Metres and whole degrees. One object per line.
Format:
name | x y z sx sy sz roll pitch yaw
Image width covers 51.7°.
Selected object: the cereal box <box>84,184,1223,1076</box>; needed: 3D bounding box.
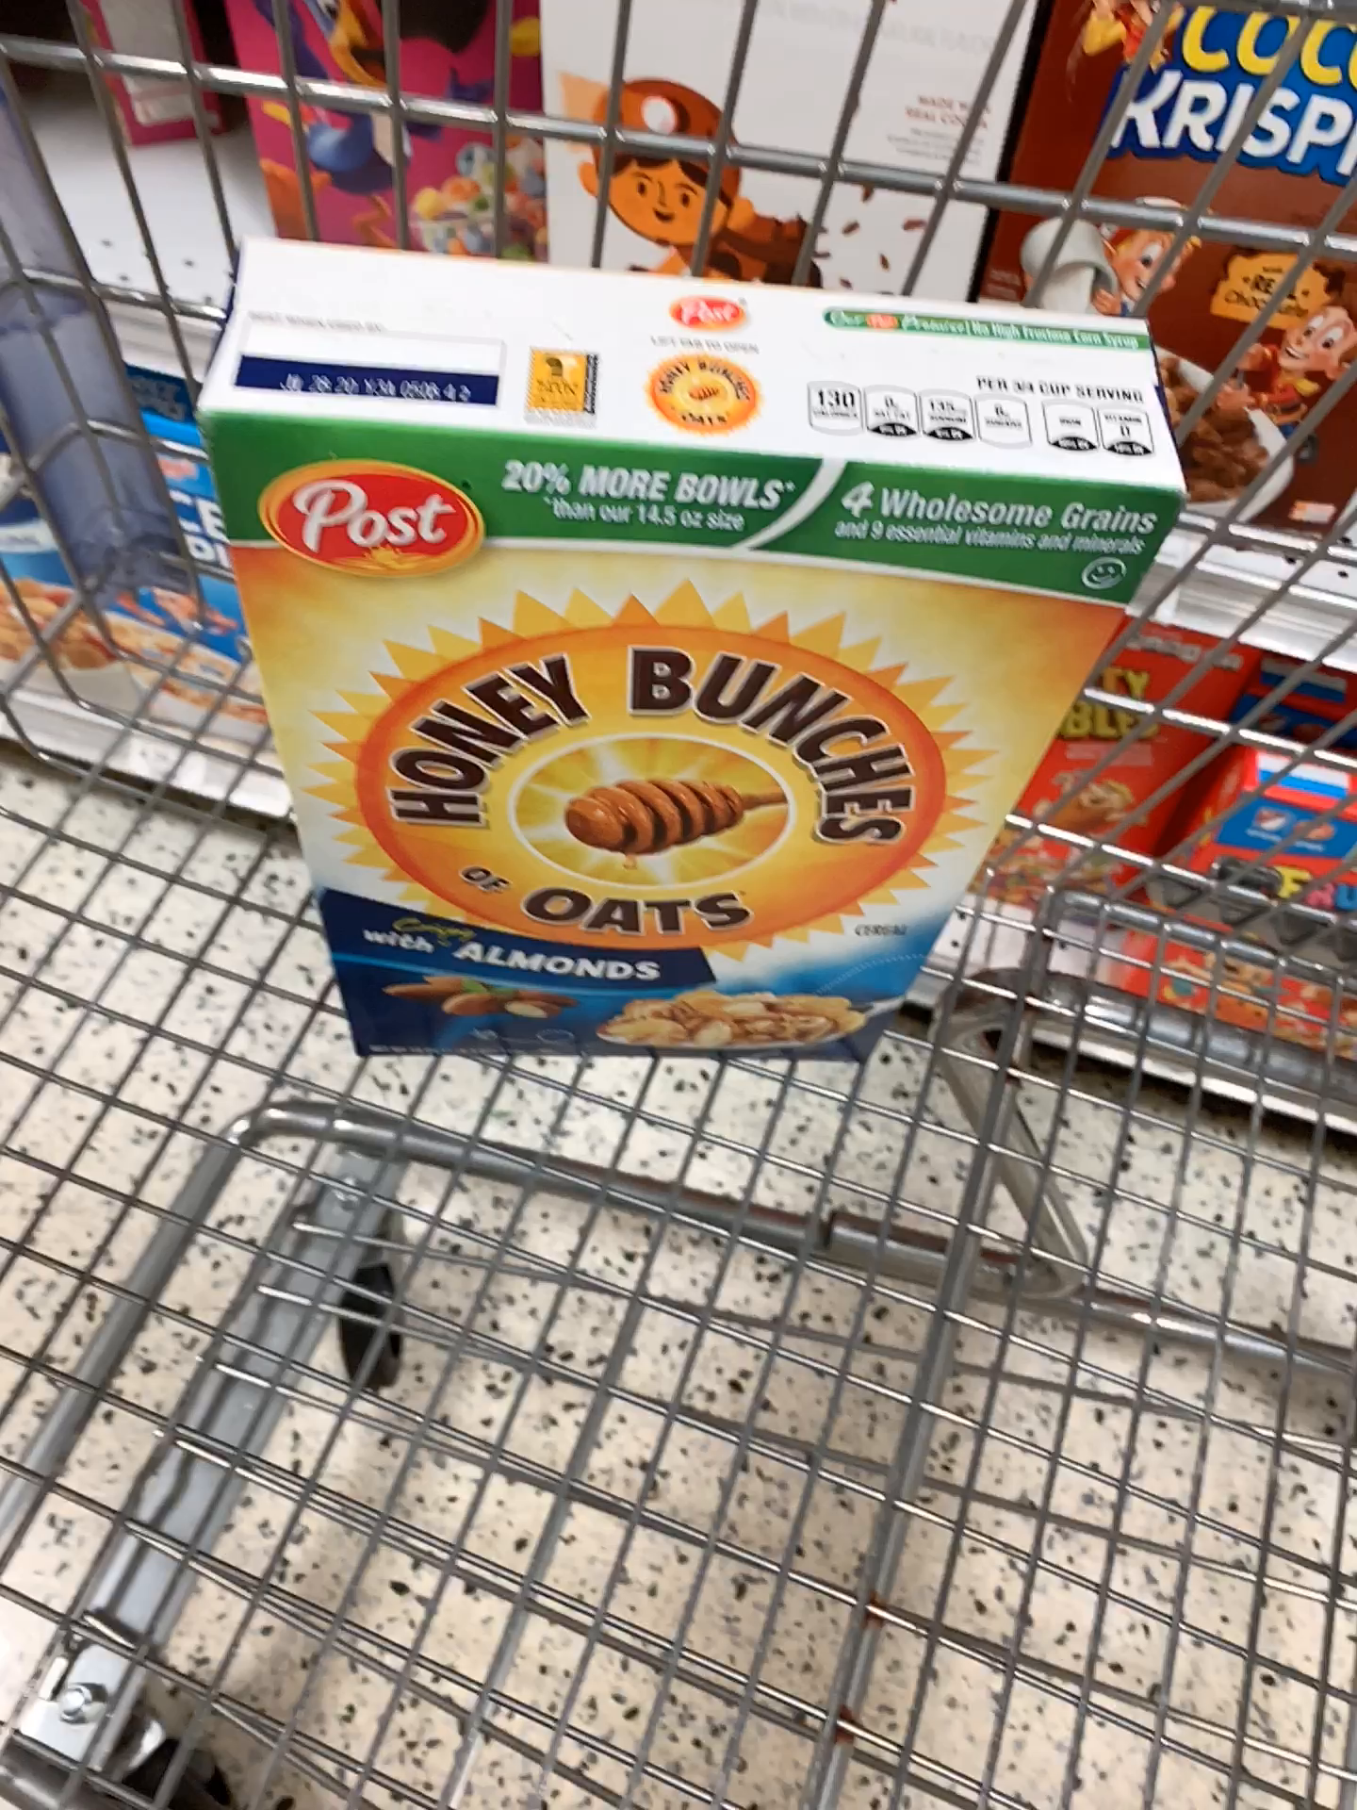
cereal box | -0.011 -0.040 0.408 0.210 0.308 0.060 4 62 -2
